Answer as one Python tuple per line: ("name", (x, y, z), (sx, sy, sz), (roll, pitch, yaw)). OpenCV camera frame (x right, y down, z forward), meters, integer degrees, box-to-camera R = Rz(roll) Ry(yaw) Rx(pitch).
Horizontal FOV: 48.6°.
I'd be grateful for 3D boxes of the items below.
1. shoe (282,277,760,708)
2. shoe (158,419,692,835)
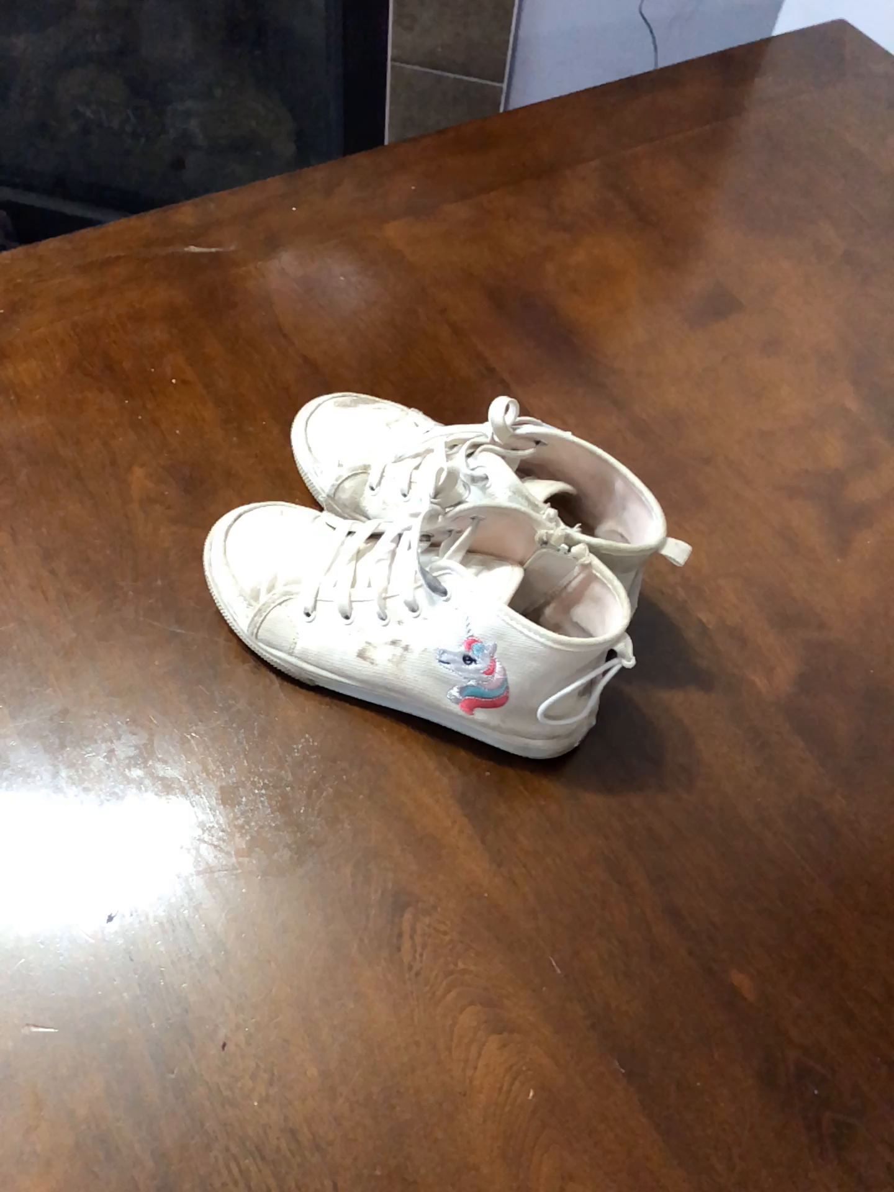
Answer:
("shoe", (0.030, -0.056, 0.521), (0.220, 0.100, 0.090), (33, 60, 15))
("shoe", (-0.012, 0.016, 0.481), (0.220, 0.100, 0.090), (22, 58, 8))
